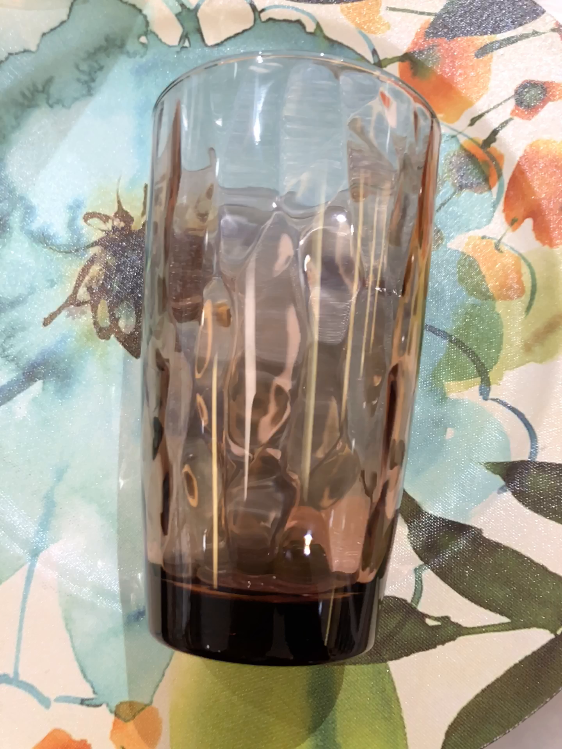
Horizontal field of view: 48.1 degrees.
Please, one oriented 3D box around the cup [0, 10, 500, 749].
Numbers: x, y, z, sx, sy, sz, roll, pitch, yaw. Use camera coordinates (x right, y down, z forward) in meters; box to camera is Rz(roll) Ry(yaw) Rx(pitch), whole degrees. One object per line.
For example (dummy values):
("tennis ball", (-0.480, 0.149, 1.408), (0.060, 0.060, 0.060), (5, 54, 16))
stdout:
("cup", (-0.005, 0.001, 0.166), (0.090, 0.080, 0.150), (4, 74, -1))
